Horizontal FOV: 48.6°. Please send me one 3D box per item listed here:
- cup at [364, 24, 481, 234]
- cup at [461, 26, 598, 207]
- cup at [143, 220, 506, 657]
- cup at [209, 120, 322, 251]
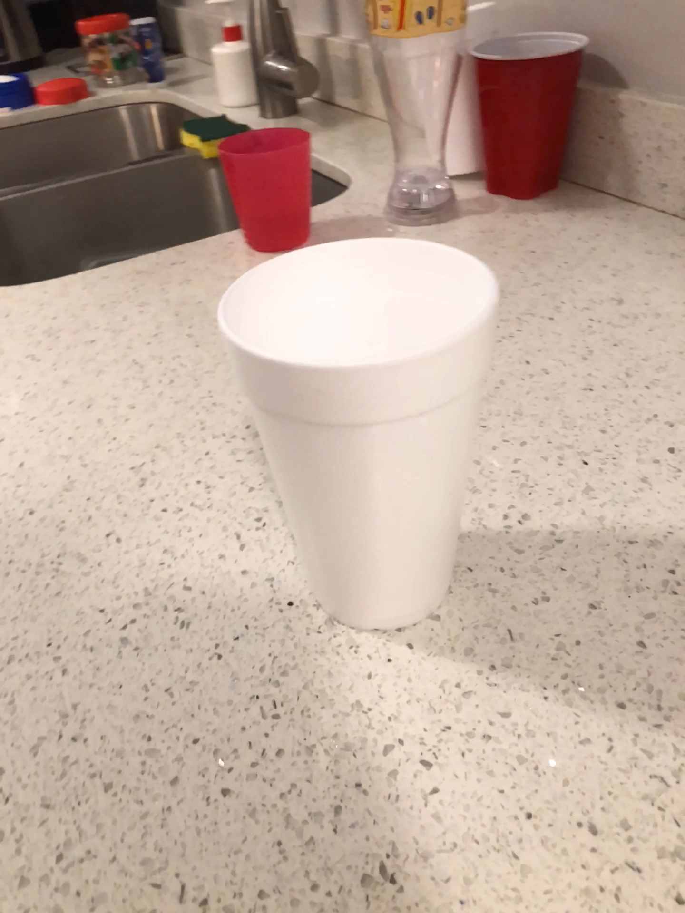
[{"bbox_3d":[0.115,-0.443,1.040,0.129,0.244,0.085,10,39,22],"label":"cup"},{"bbox_3d":[0.228,-0.419,0.935,0.129,0.175,0.121,-5,36,4],"label":"cup"},{"bbox_3d":[0.004,-0.011,0.277,0.088,0.118,0.090,-5,36,4],"label":"cup"},{"bbox_3d":[-0.095,-0.350,0.982,0.104,0.135,0.097,-3,36,2],"label":"cup"}]
